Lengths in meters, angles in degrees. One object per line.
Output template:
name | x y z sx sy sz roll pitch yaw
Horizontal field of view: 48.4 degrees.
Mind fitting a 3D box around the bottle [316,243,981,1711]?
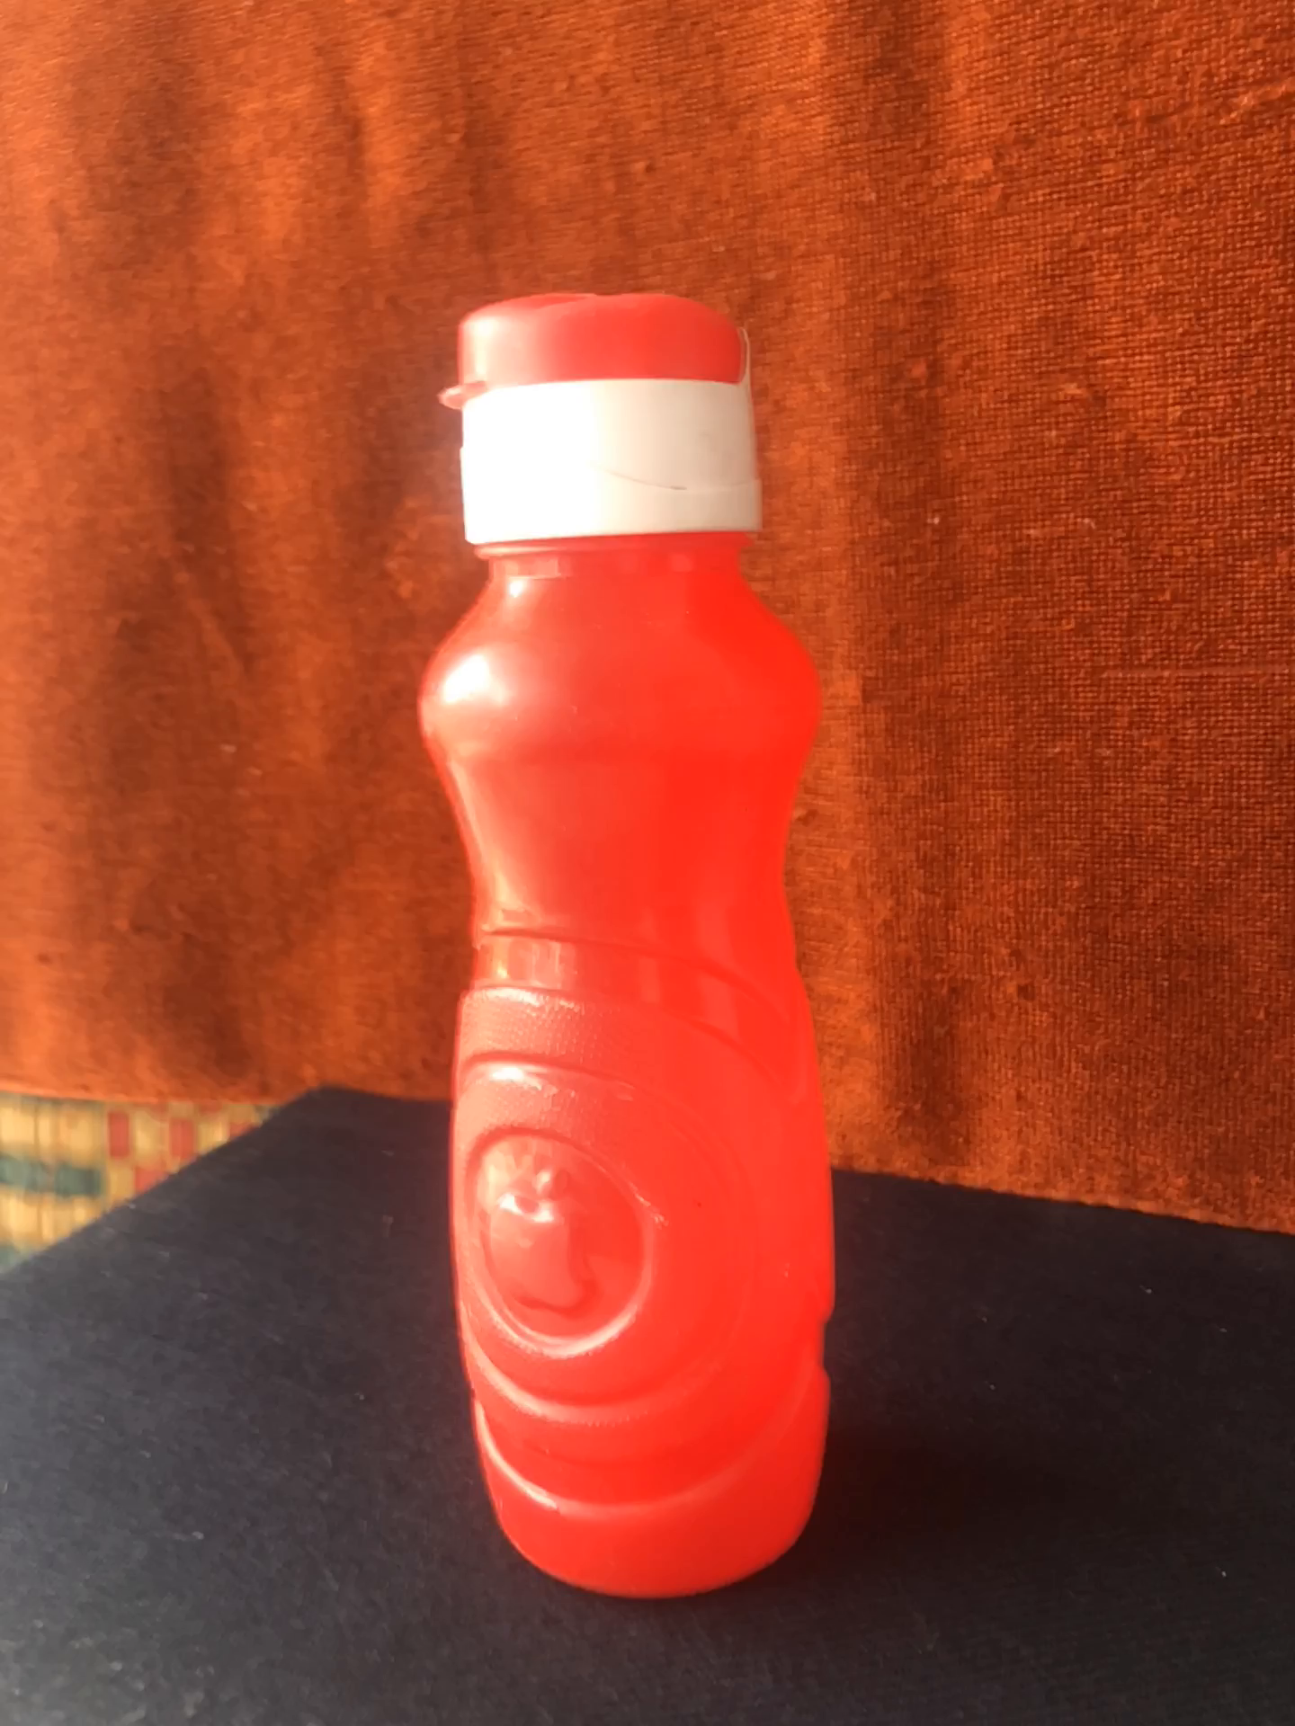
bottle | 0.006 0.017 0.255 0.080 0.219 0.070 7 17 34
